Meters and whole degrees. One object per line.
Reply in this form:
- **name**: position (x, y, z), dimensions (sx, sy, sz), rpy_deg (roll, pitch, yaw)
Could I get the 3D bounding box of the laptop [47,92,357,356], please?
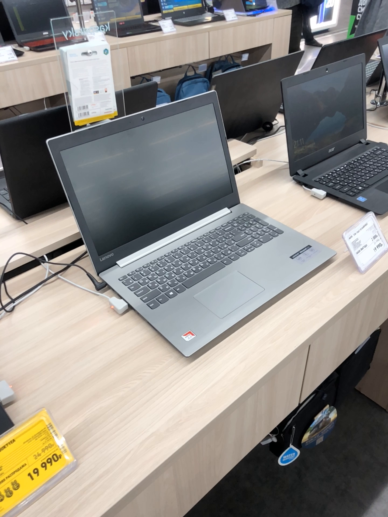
- **laptop**: position (0.015, -0.104, 0.769), dimensions (0.381, 0.235, 0.344), rpy_deg (-29, 44, -31)
